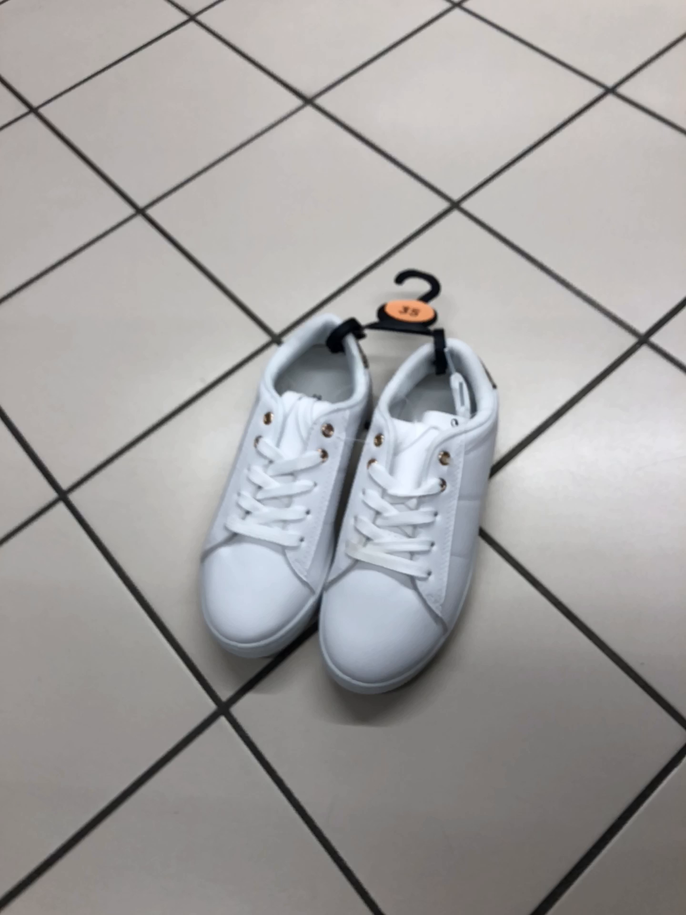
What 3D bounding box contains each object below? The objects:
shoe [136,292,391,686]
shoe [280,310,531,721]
[{"bbox_3d":[-0.040,0.014,0.510,0.090,0.080,0.241,10,63,11],"label":"shoe"},{"bbox_3d":[0.048,0.030,0.495,0.090,0.080,0.241,13,64,13],"label":"shoe"}]
